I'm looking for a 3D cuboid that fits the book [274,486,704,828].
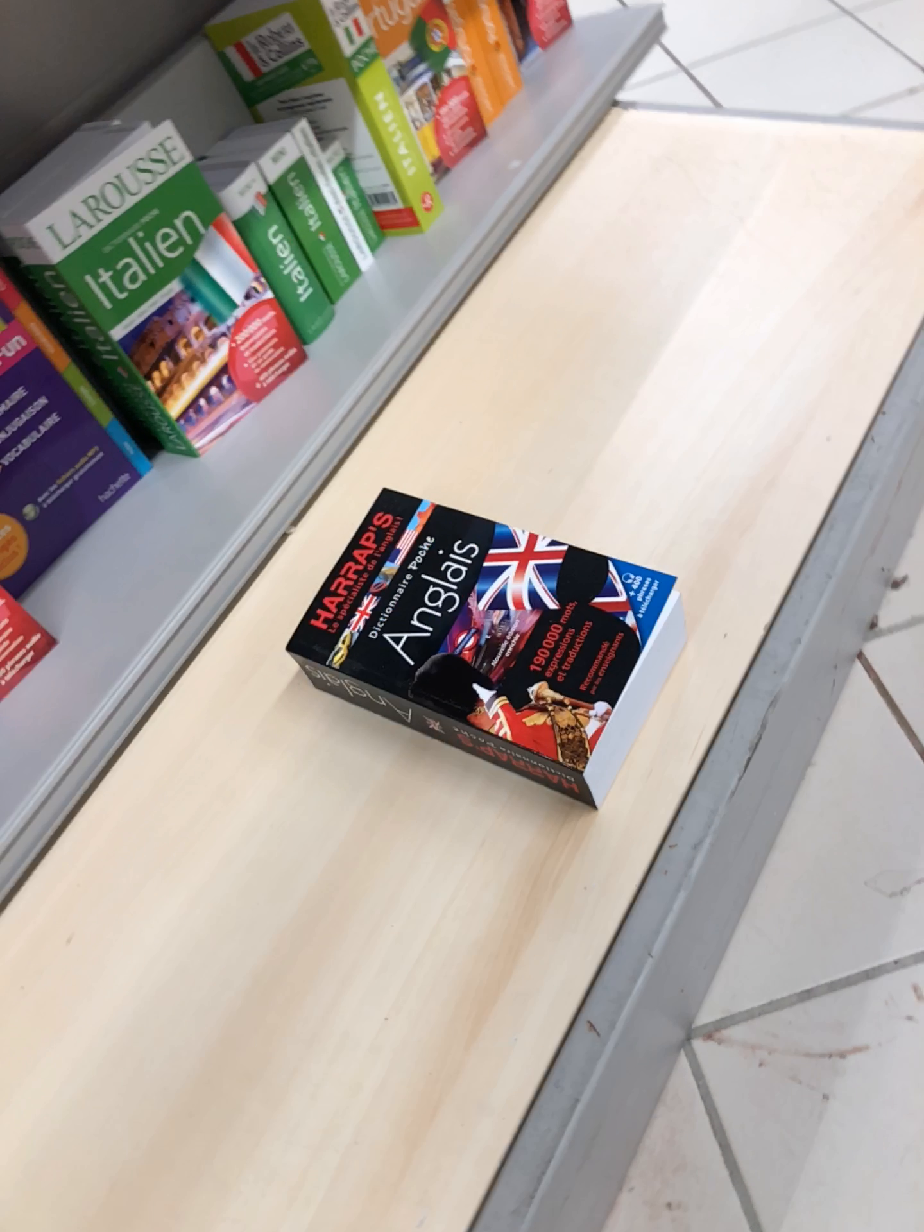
[{"bbox_3d":[0.015,0.014,0.523,0.181,0.057,0.116,19,61,27],"label":"book"}]
